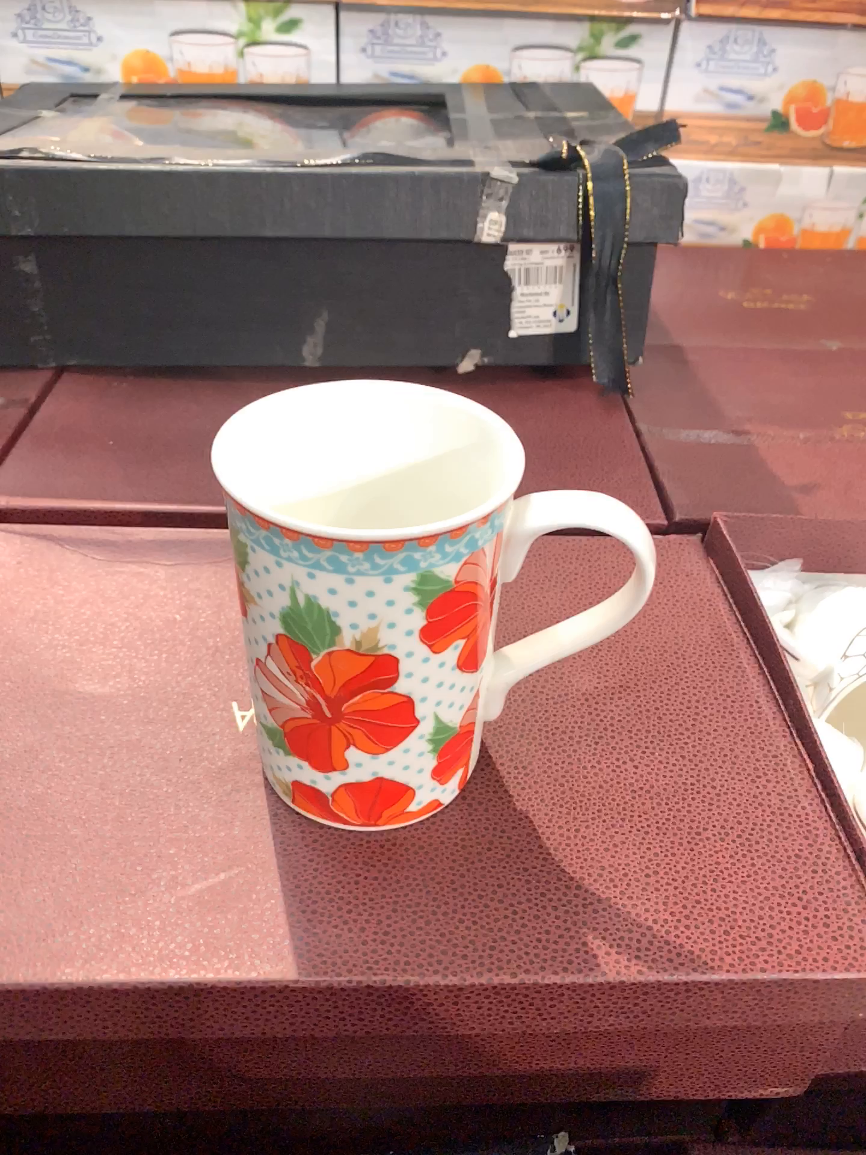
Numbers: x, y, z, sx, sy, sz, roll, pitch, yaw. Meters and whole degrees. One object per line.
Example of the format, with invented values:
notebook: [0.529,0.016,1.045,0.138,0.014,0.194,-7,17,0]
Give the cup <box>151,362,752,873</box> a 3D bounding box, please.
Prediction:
cup: [0.002,0.012,0.244,0.120,0.110,0.080,2,37,-2]
